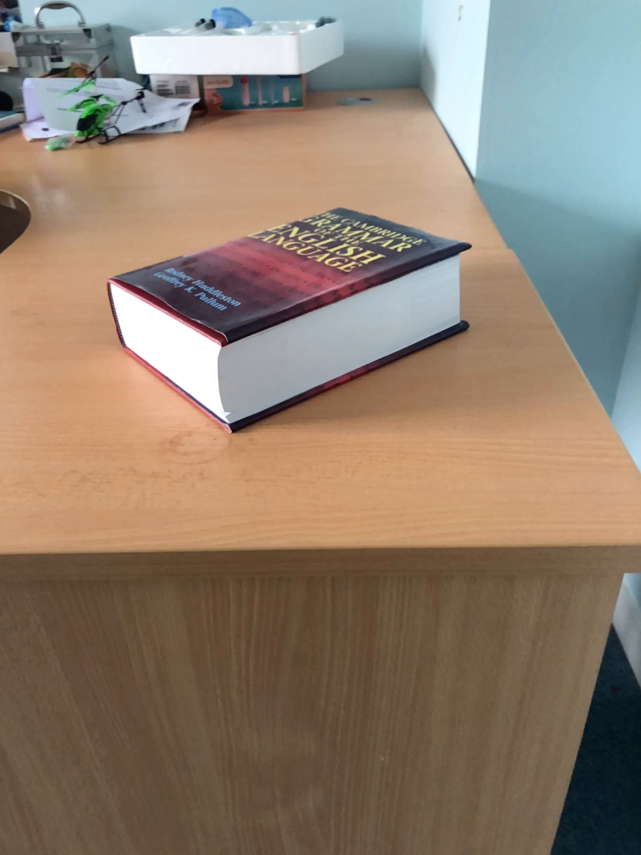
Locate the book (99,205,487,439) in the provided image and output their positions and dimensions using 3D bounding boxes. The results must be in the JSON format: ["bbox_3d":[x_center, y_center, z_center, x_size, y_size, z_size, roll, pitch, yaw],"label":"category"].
[{"bbox_3d":[-0.021,-0.109,0.605,0.261,0.070,0.195,-26,38,-29],"label":"book"}]
